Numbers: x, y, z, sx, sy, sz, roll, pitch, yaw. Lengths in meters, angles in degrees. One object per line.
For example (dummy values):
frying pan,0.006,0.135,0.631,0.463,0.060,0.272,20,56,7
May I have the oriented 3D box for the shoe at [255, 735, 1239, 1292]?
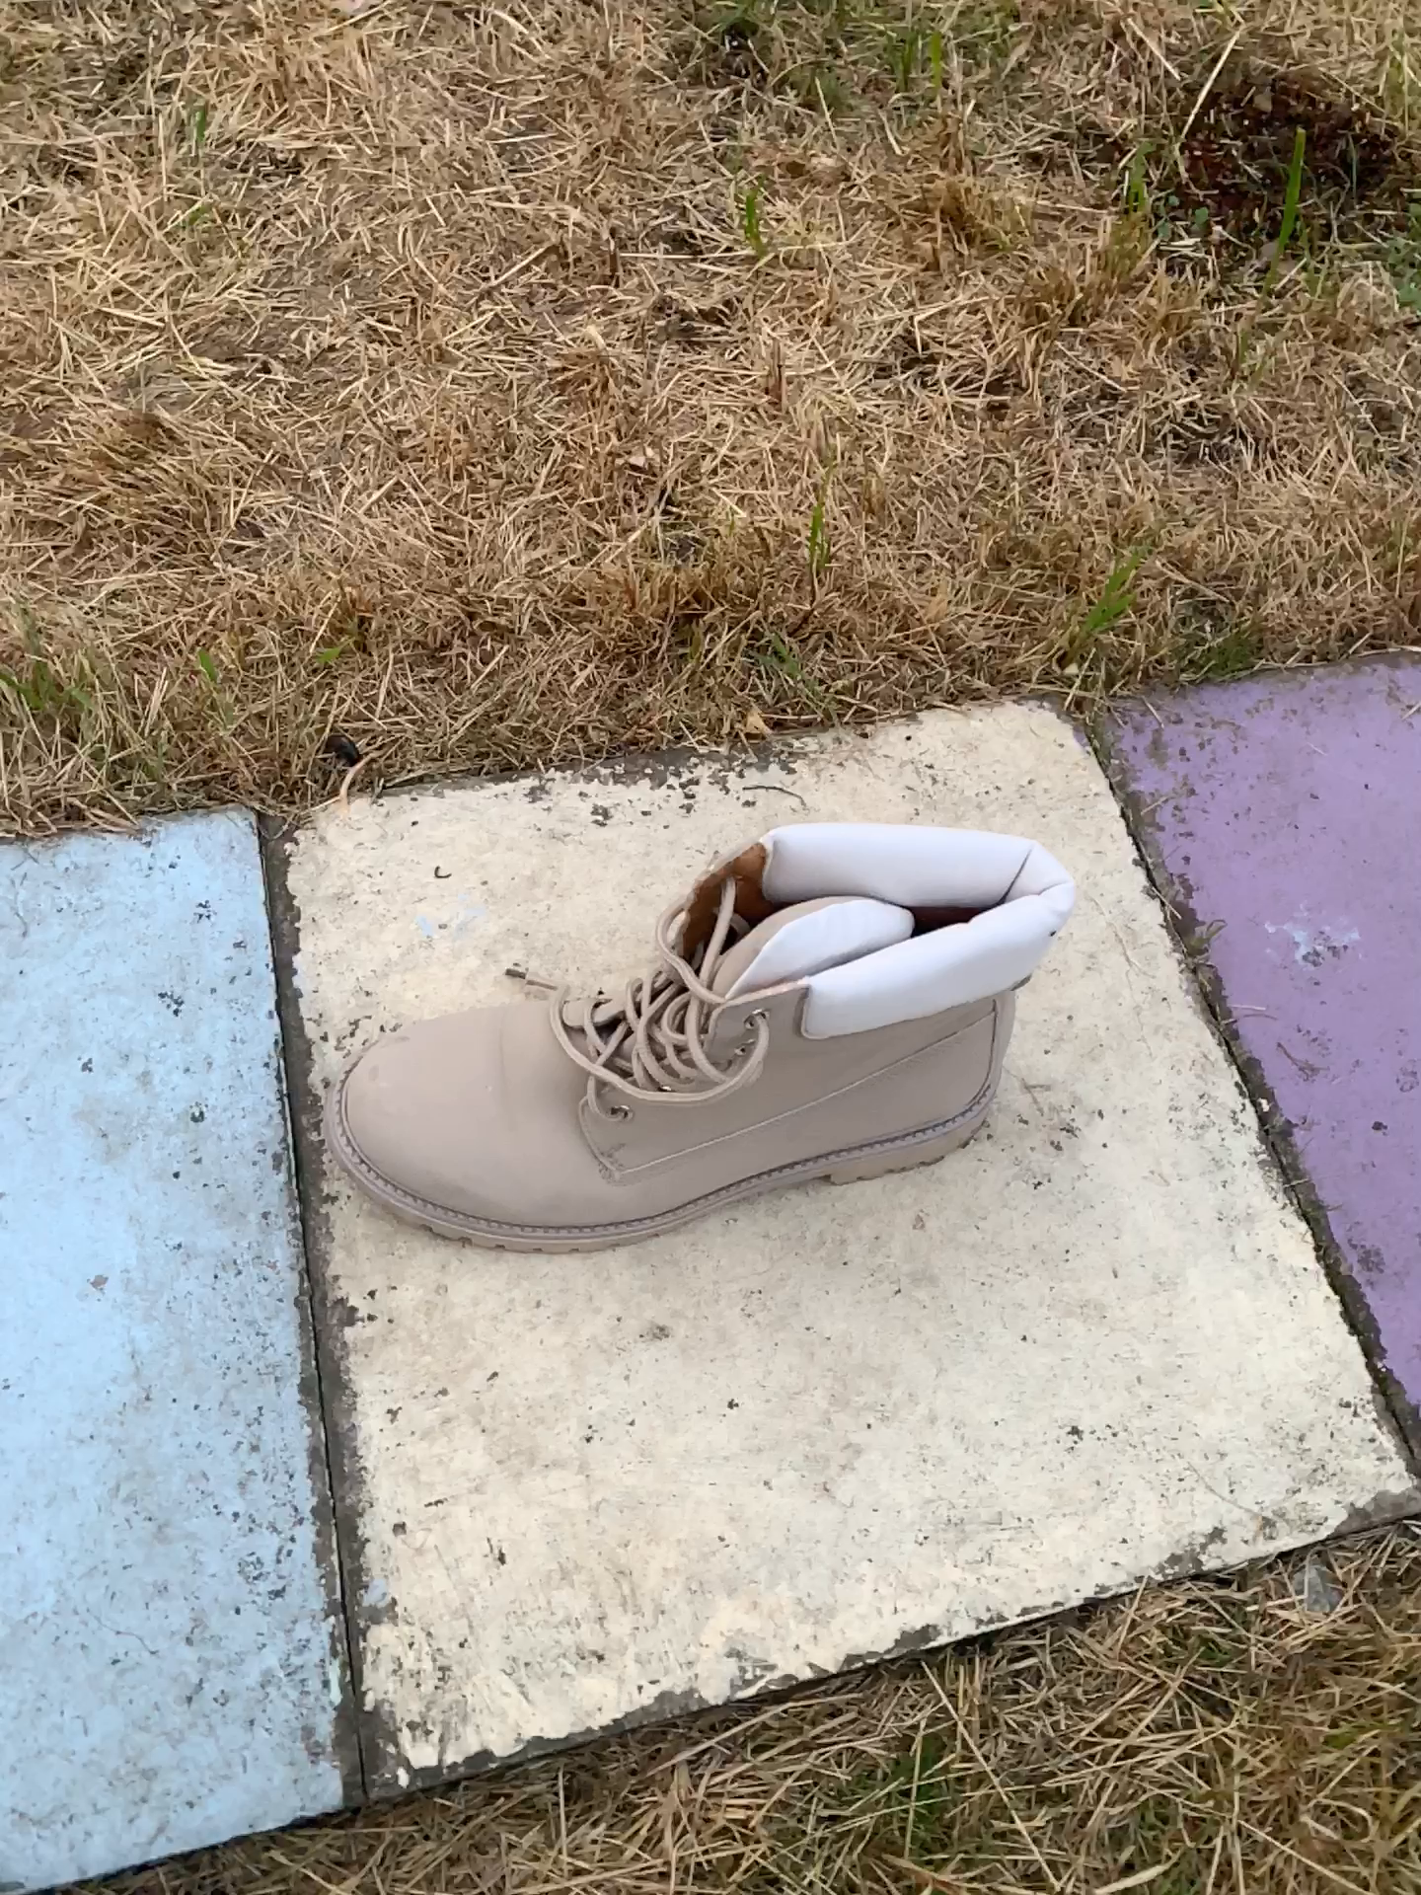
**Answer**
shoe,0.000,0.031,0.513,0.280,0.199,0.101,-4,63,-10
